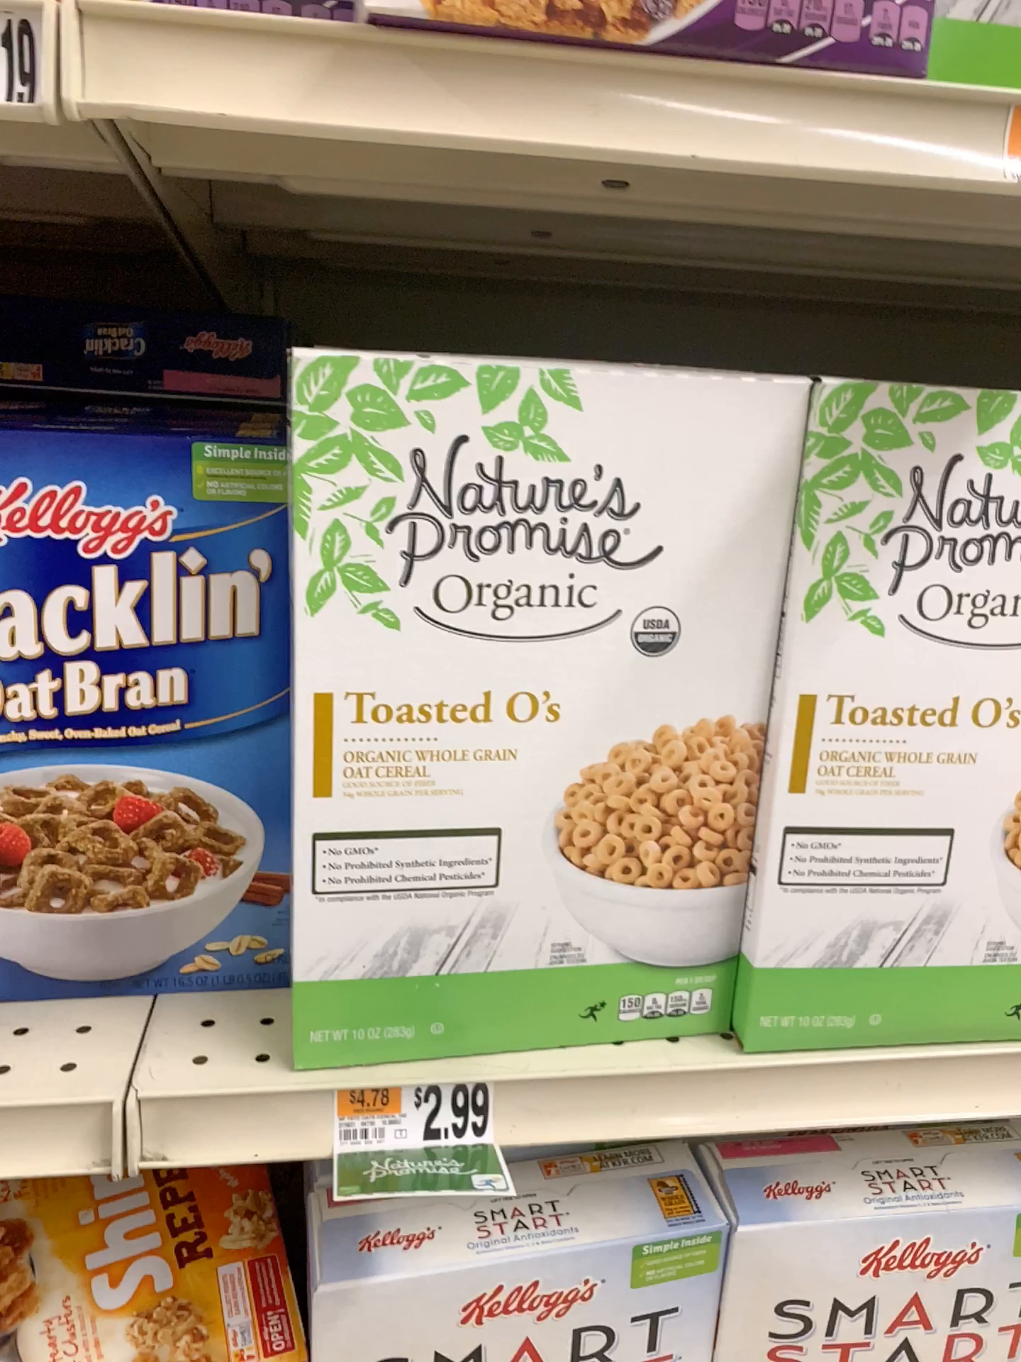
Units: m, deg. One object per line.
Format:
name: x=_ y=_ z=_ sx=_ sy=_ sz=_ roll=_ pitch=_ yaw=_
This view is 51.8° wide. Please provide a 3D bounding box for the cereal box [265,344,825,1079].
cereal box: x=0.003 y=0.012 z=0.418 sx=0.190 sy=0.269 sz=0.070 roll=-1 pitch=17 yaw=-12
